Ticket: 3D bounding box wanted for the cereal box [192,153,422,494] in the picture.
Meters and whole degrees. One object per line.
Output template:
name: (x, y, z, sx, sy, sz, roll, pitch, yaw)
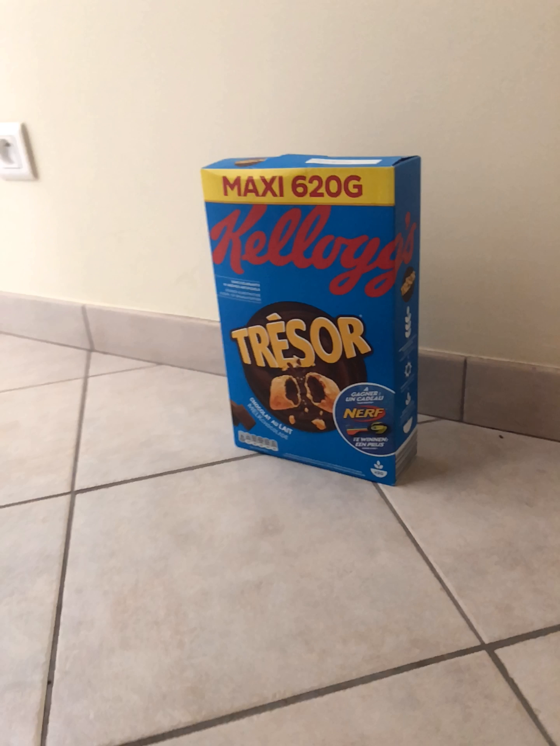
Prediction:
cereal box: (0.032, -0.049, 0.597, 0.190, 0.298, 0.070, 10, 28, 30)
